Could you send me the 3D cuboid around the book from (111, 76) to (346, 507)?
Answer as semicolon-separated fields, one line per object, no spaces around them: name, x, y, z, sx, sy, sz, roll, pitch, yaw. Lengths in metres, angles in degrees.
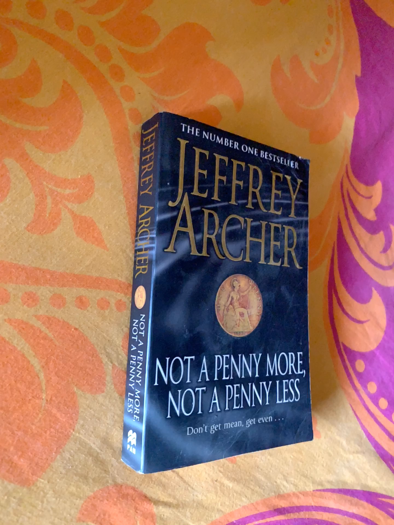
book;0.020;0.011;0.196;0.110;0.030;0.160;6;79;-34
